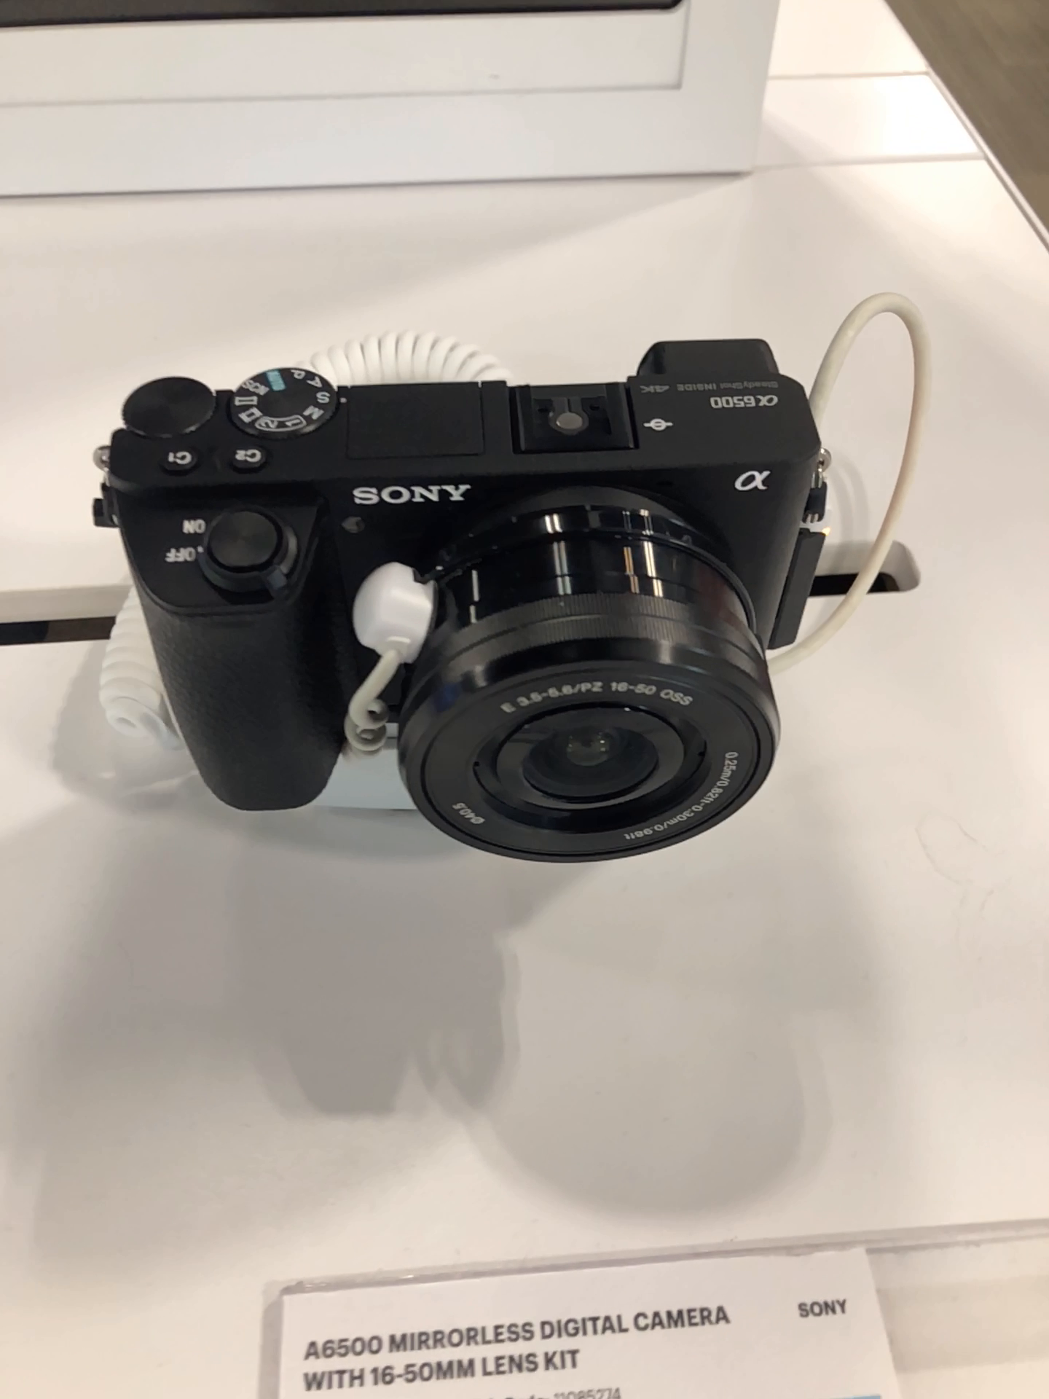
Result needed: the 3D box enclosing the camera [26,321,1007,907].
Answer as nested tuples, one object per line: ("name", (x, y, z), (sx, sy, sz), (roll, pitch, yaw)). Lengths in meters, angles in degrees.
("camera", (-0.003, -0.016, 0.214), (0.140, 0.070, 0.070), (-4, 51, -5))
